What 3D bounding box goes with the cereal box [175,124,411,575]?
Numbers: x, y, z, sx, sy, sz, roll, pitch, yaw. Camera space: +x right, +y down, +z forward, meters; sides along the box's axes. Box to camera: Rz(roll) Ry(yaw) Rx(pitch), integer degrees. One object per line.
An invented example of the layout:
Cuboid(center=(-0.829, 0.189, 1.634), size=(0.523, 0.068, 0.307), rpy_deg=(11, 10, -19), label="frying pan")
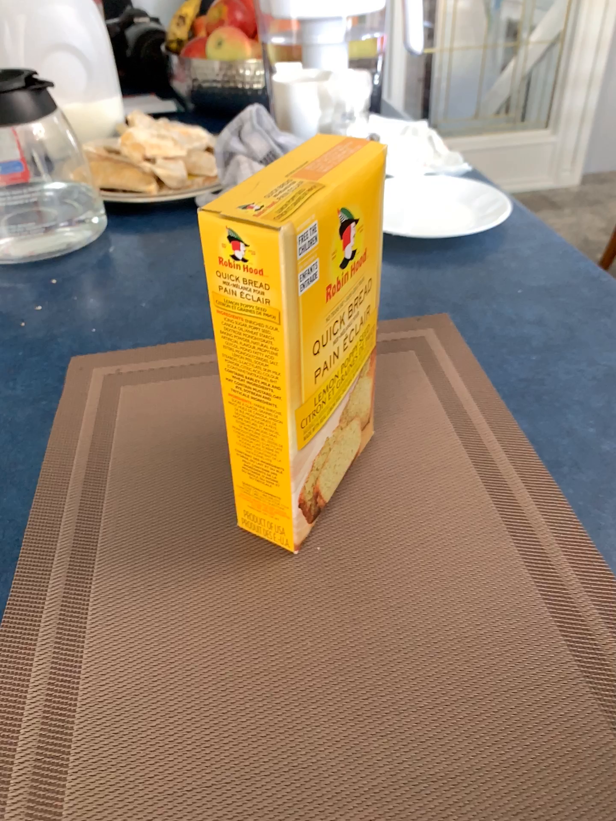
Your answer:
Cuboid(center=(0.004, -0.030, 0.320), size=(0.040, 0.178, 0.131), rpy_deg=(16, 41, 23), label="cereal box")
